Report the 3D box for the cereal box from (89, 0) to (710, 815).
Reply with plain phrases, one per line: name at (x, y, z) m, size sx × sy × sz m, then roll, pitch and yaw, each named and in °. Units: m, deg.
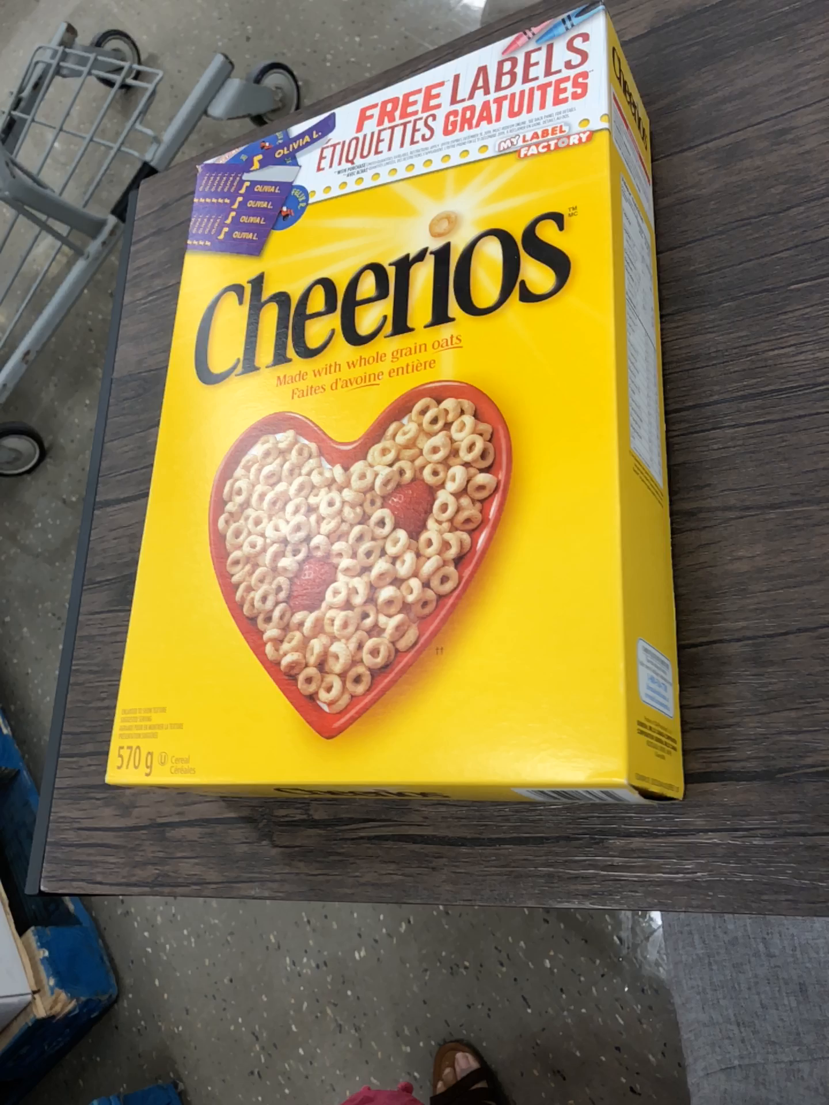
cereal box at (-0.005, -0.056, 0.435) m, size 0.241 × 0.100 × 0.340 m, roll -8°, pitch 69°, yaw 28°
